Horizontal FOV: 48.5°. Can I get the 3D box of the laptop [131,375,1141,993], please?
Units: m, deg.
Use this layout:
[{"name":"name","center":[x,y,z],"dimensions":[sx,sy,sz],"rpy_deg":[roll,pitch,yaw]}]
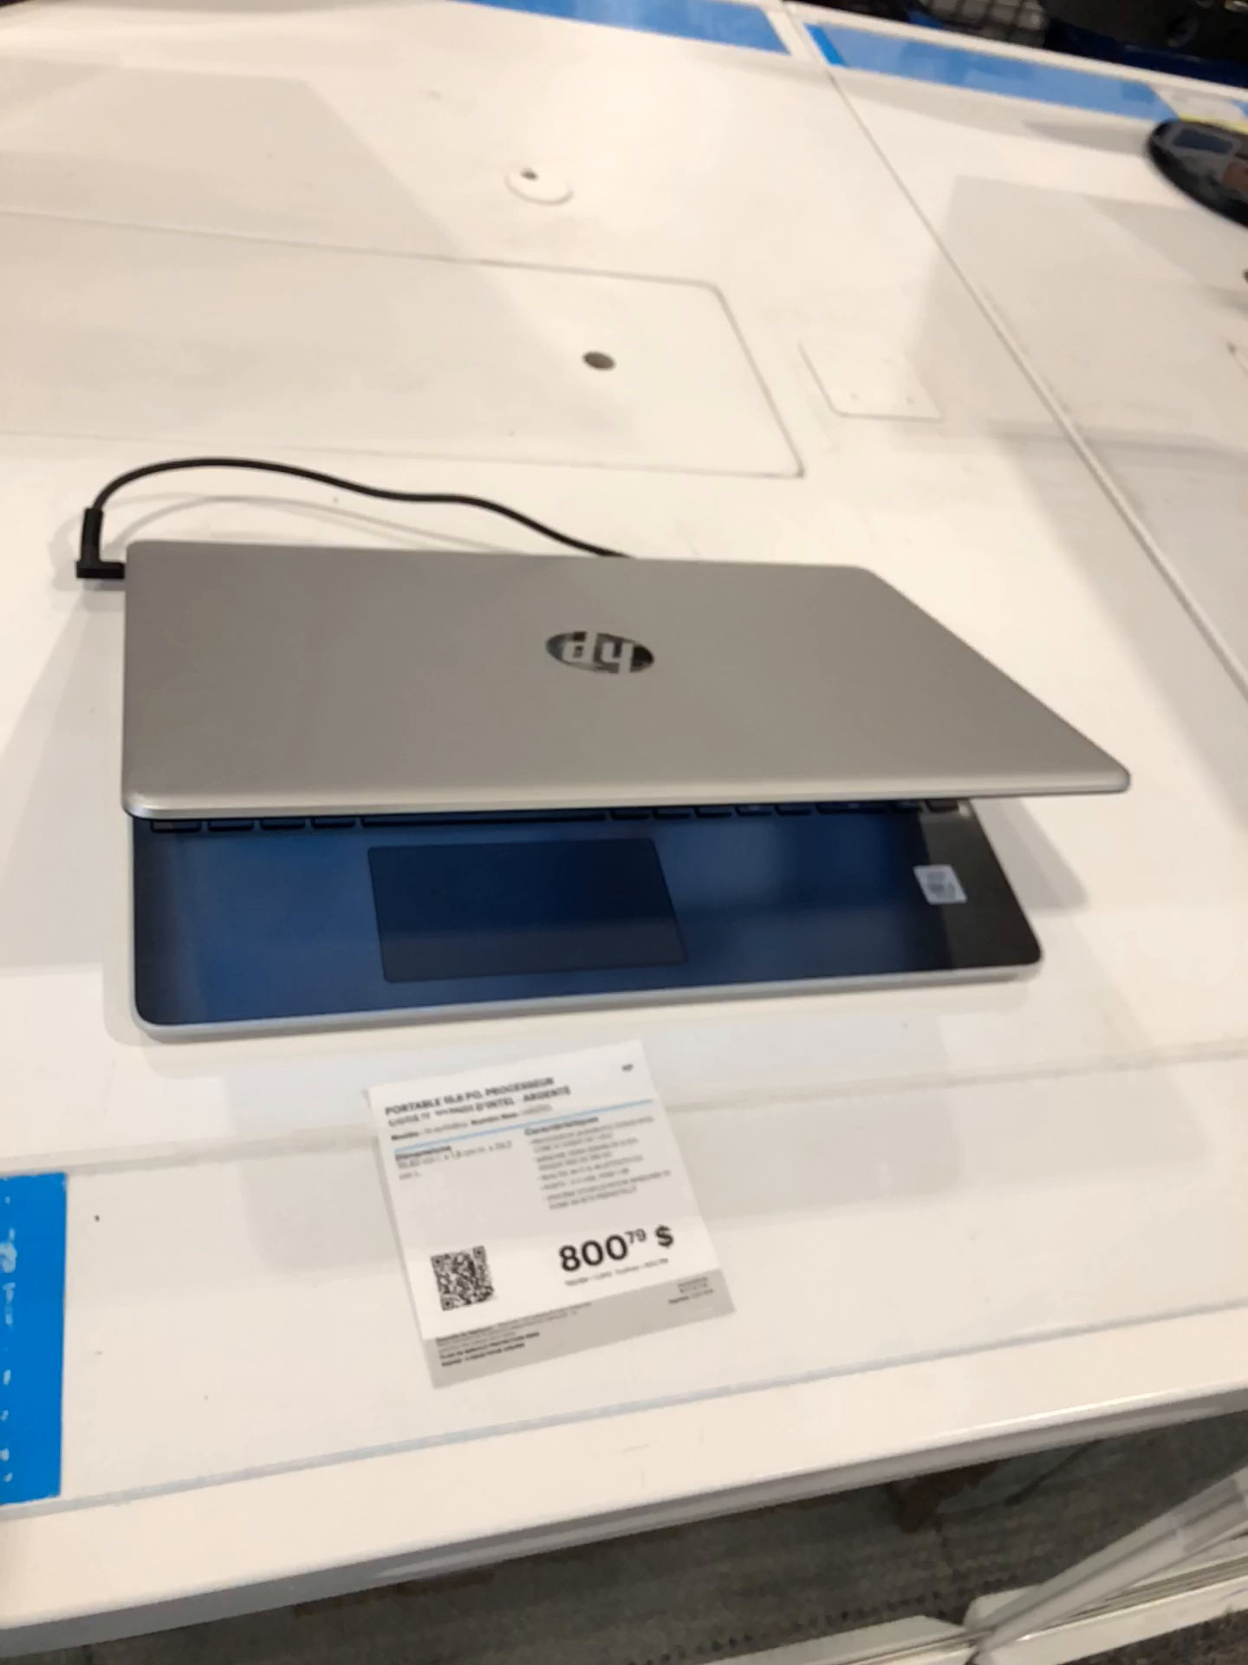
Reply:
[{"name":"laptop","center":[-0.013,-0.067,0.548],"dimensions":[0.342,0.086,0.229],"rpy_deg":[-2,51,-17]}]
